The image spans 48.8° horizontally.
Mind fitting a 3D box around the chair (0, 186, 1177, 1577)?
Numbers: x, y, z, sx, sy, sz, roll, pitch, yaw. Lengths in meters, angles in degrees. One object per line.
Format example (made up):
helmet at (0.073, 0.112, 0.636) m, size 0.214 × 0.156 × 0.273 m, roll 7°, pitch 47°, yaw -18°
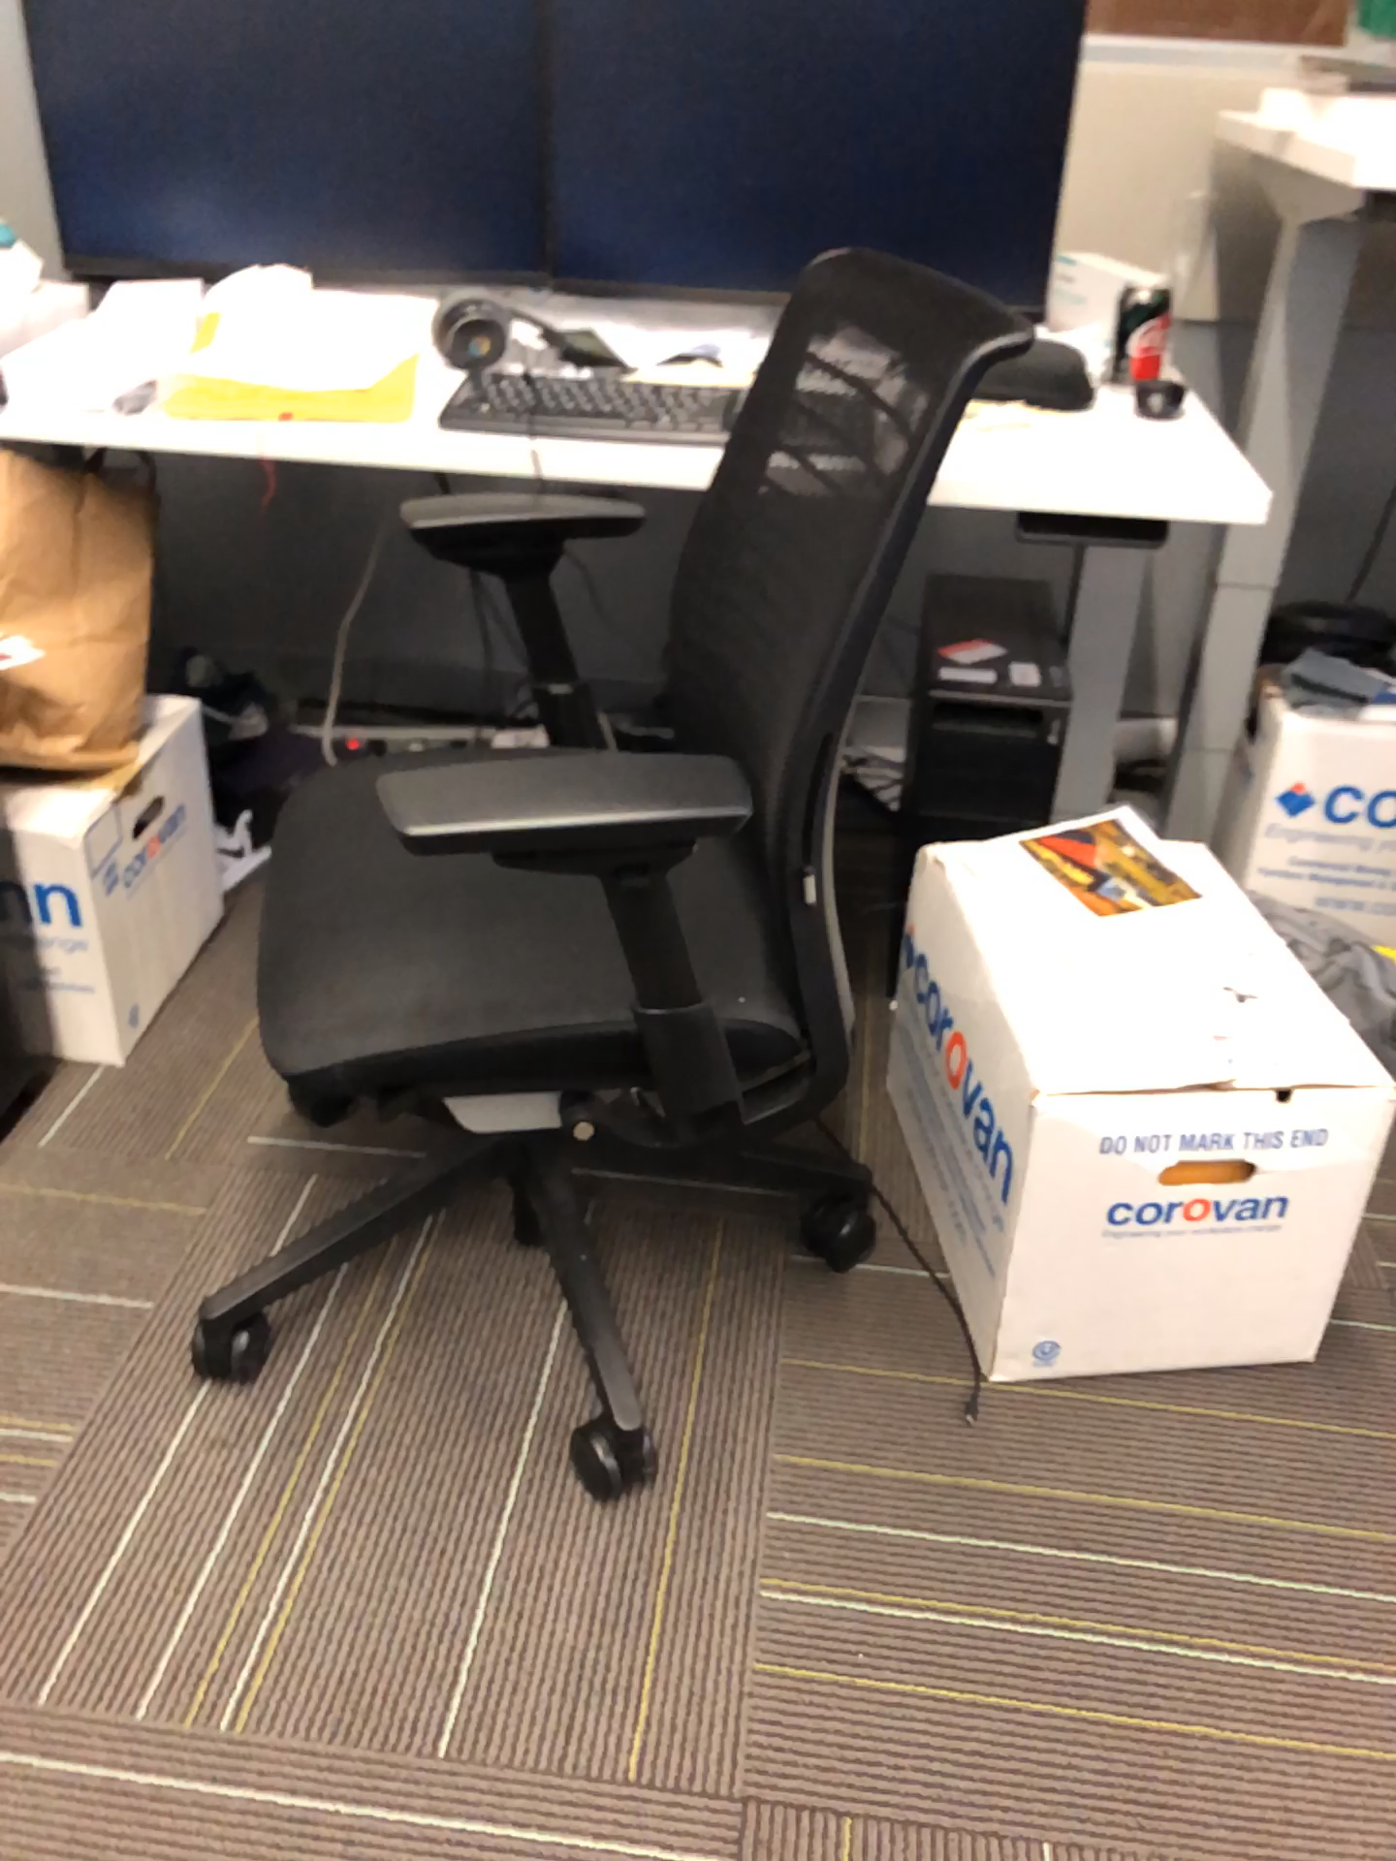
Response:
chair at (-0.147, -0.105, 1.448) m, size 0.700 × 0.994 × 0.784 m, roll -4°, pitch 31°, yaw -11°
